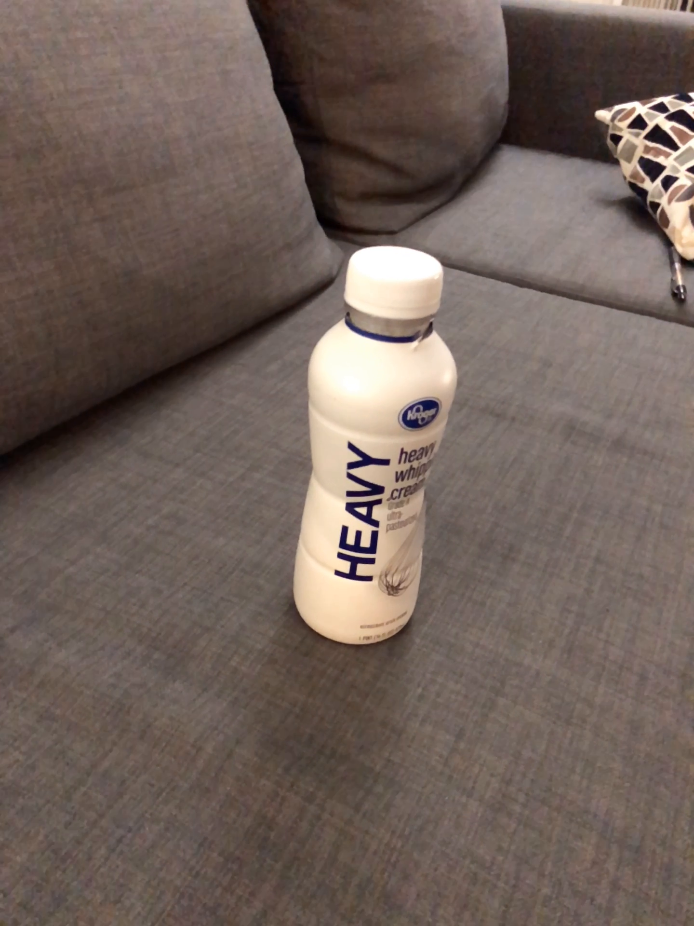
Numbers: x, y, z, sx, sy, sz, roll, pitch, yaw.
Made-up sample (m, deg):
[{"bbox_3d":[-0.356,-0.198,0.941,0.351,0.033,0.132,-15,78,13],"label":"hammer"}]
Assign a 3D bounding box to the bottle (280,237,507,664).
[{"bbox_3d":[0.012,-0.002,0.371,0.070,0.189,0.070,3,35,-2],"label":"bottle"}]
